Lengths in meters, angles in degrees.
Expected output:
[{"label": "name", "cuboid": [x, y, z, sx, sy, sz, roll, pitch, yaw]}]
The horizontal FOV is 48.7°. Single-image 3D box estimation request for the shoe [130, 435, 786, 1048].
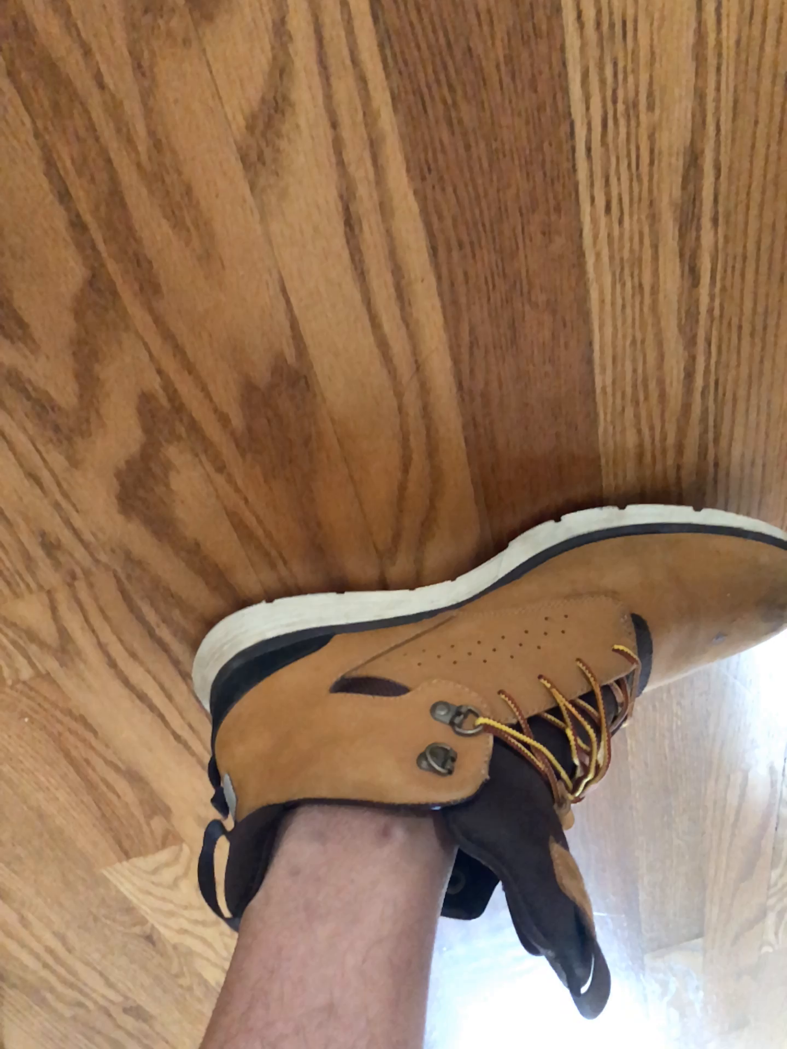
[{"label": "shoe", "cuboid": [0.063, 0.098, 0.382, 0.310, 0.169, 0.121, -18, 131, -7]}]
